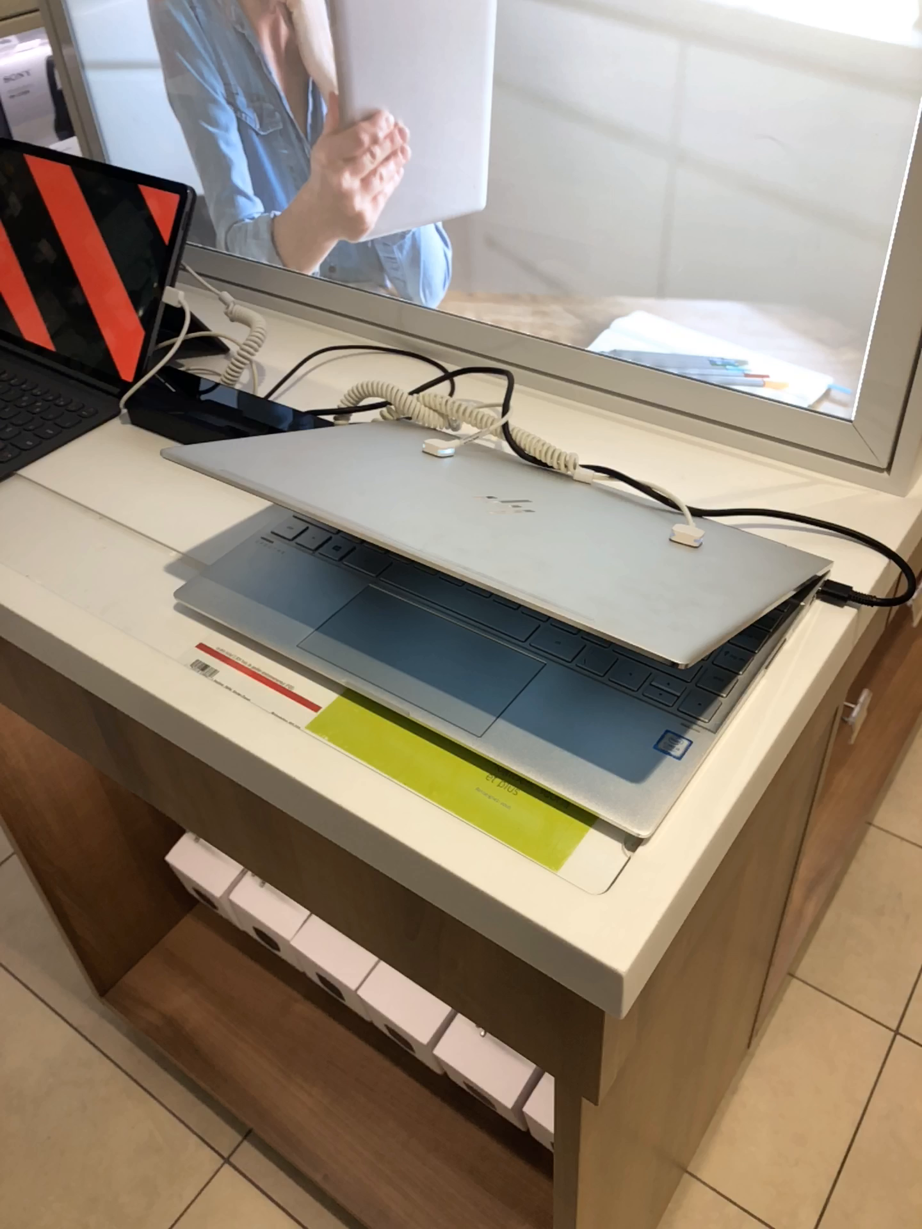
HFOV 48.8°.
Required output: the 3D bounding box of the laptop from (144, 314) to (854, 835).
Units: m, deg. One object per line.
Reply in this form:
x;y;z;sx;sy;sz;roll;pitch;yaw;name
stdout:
0.018;-0.049;0.544;0.299;0.078;0.211;24;49;28;laptop
